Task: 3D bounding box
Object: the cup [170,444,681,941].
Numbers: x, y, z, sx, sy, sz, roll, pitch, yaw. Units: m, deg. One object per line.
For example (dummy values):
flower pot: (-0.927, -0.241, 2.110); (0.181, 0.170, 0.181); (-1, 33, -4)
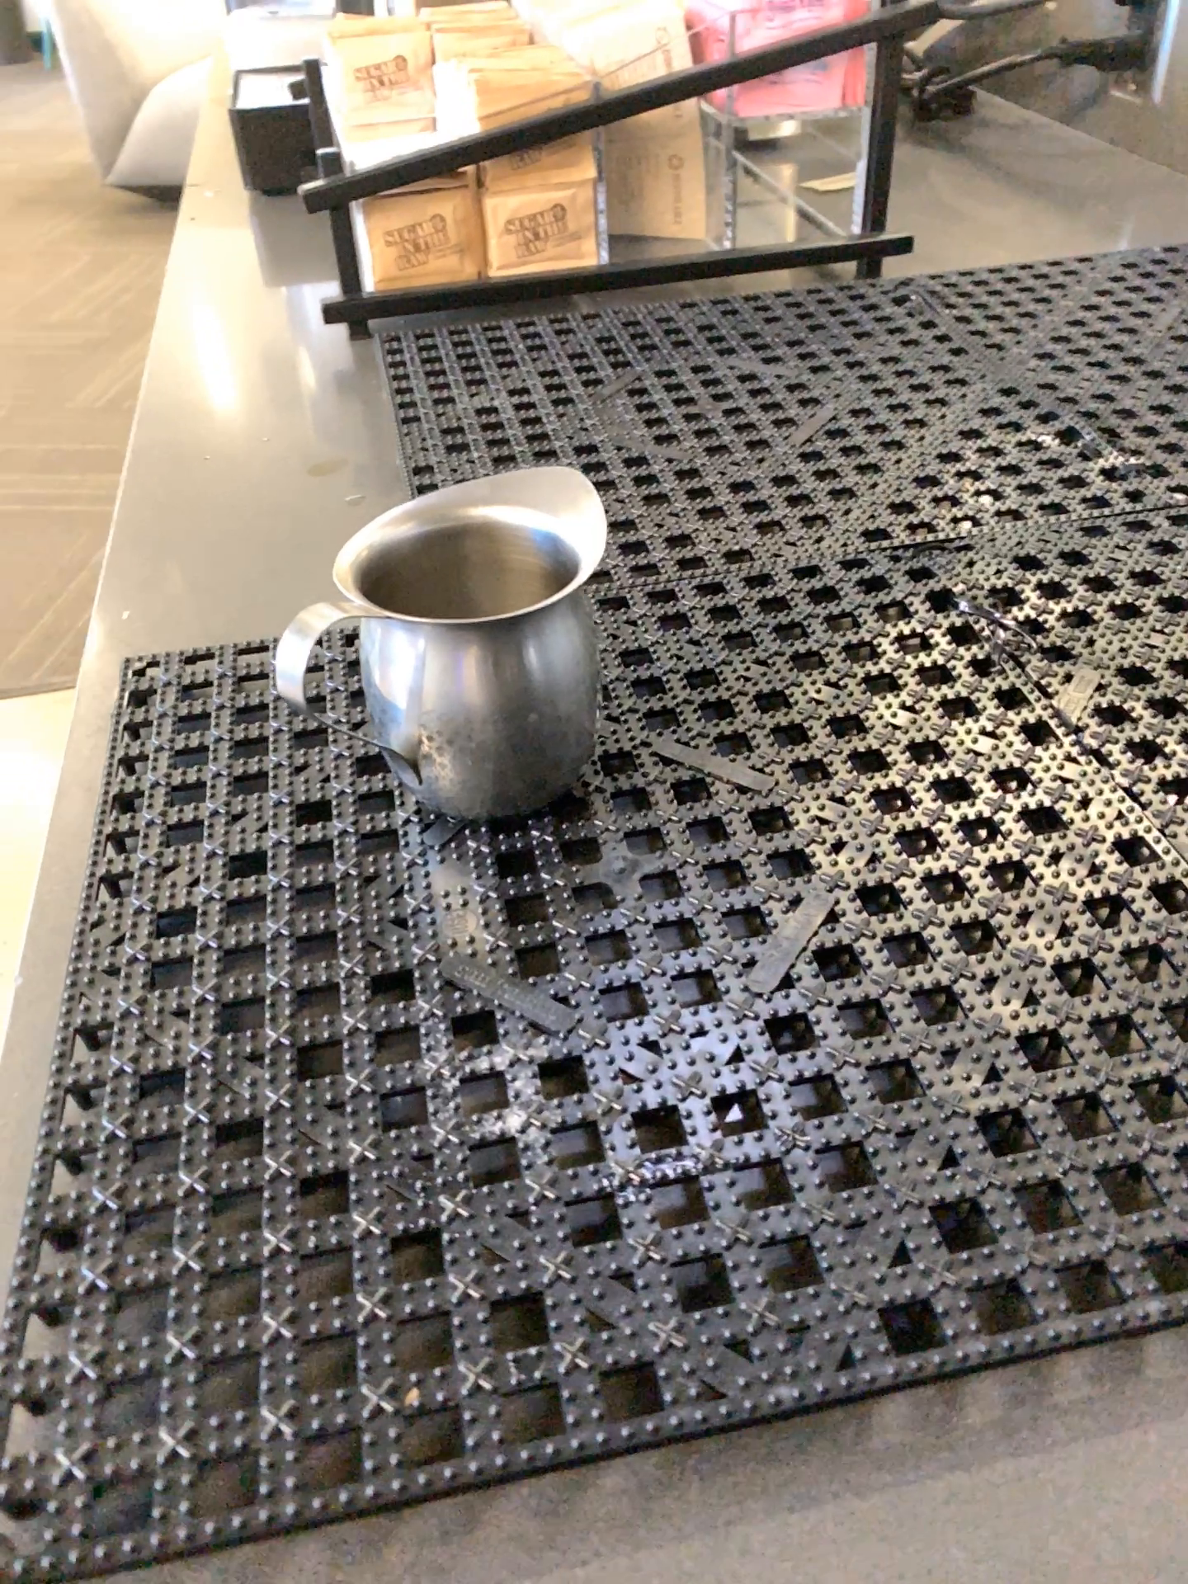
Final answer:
cup: (-0.038, -0.032, 0.327); (0.070, 0.070, 0.110); (25, 47, 30)
